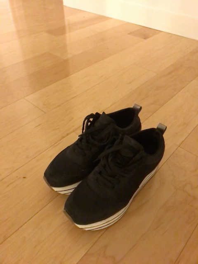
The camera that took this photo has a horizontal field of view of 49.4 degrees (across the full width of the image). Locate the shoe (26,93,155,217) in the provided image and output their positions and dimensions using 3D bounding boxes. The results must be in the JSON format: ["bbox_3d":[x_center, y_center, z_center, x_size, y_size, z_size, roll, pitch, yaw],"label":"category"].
[{"bbox_3d":[-0.004,0.033,0.516,0.120,0.109,0.291,31,50,29],"label":"shoe"}]

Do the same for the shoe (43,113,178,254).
[{"bbox_3d":[0.040,0.087,0.473,0.120,0.099,0.291,31,50,29],"label":"shoe"}]
